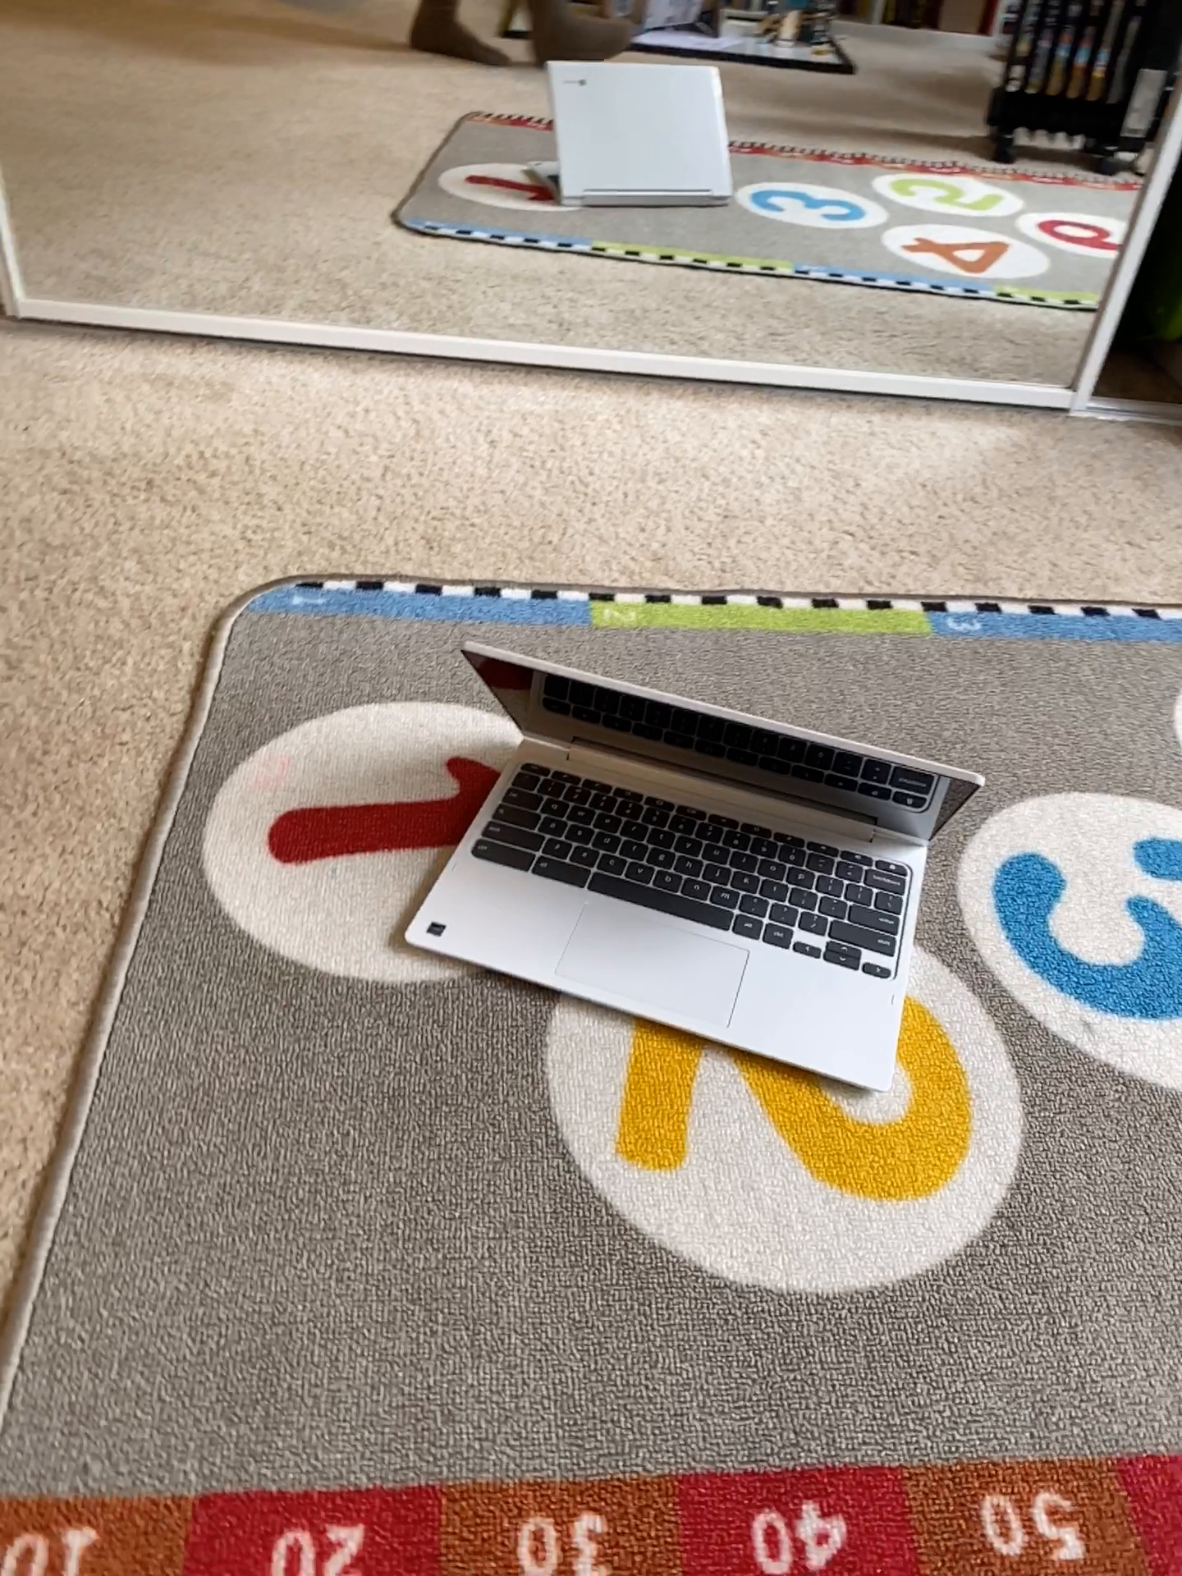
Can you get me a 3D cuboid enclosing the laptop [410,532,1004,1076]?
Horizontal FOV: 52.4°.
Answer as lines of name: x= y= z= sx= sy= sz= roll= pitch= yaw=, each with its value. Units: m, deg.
laptop: x=0.072 y=-0.002 z=0.729 sx=0.294 sy=0.164 sz=0.218 roll=16 pitch=40 yaw=10
